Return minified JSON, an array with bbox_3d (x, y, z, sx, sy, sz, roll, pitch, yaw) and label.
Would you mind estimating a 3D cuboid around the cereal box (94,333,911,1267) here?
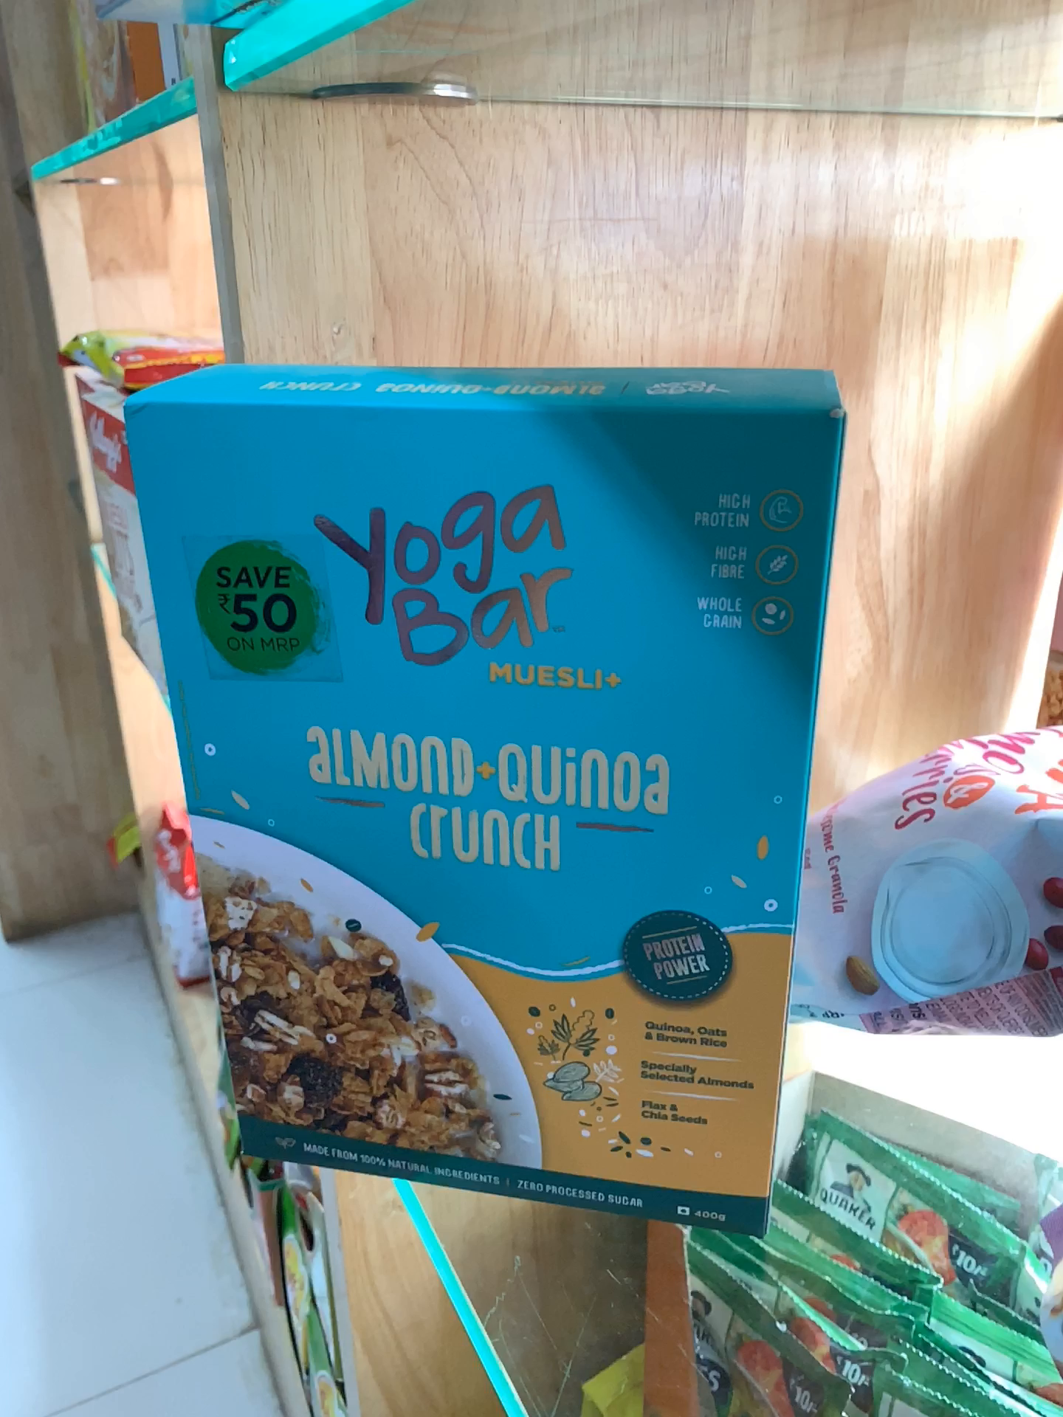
[{"bbox_3d":[-0.004,0.023,0.280,0.160,0.218,0.060,4,23,11],"label":"cereal box"}]
